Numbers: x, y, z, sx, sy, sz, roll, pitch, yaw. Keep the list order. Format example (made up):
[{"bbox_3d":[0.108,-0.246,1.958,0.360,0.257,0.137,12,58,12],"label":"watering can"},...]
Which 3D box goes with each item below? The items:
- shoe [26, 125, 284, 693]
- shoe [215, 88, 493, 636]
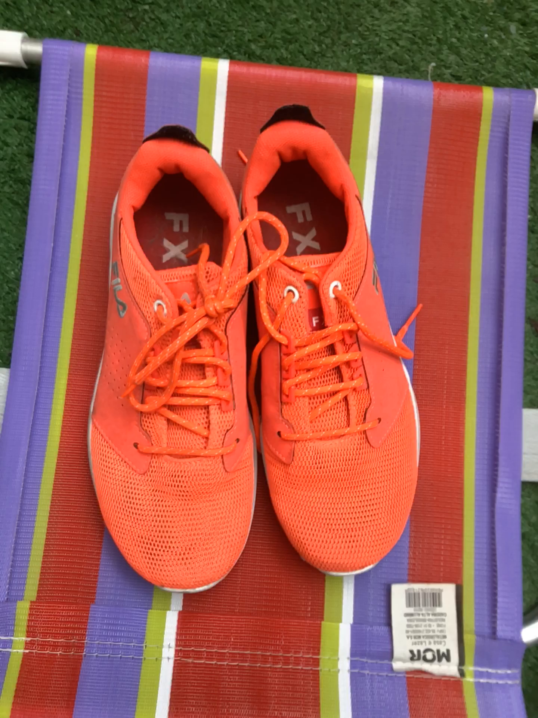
[{"bbox_3d":[-0.055,0.018,0.299,0.100,0.100,0.230,-2,84,-7],"label":"shoe"},{"bbox_3d":[0.037,0.000,0.327,0.100,0.090,0.250,-7,84,-1],"label":"shoe"}]
